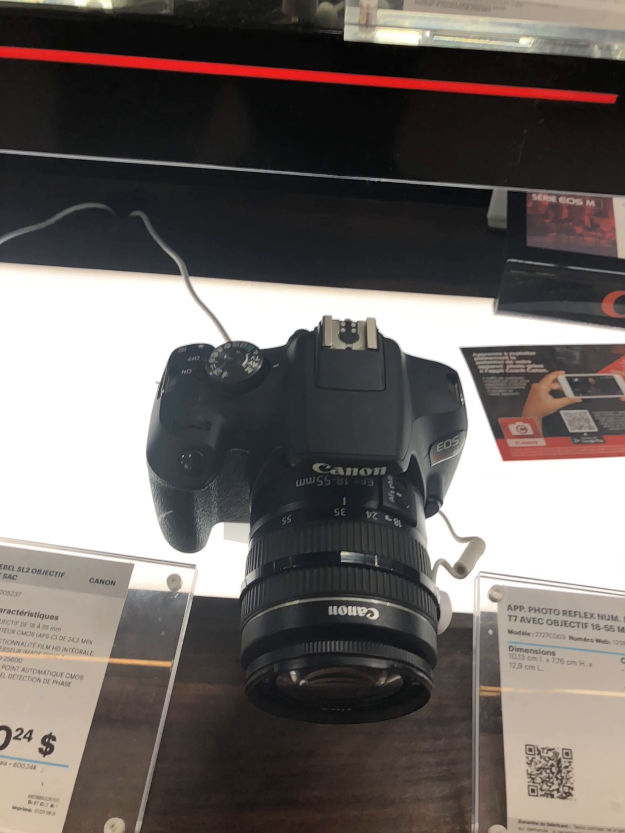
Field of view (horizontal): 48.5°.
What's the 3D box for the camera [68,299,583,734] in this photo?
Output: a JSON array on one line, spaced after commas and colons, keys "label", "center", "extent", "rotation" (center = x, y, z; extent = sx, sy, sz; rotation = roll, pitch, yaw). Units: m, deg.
[{"label": "camera", "center": [0.002, 0.034, 0.247], "extent": [0.128, 0.099, 0.112], "rotation": [2, 44, -2]}]
